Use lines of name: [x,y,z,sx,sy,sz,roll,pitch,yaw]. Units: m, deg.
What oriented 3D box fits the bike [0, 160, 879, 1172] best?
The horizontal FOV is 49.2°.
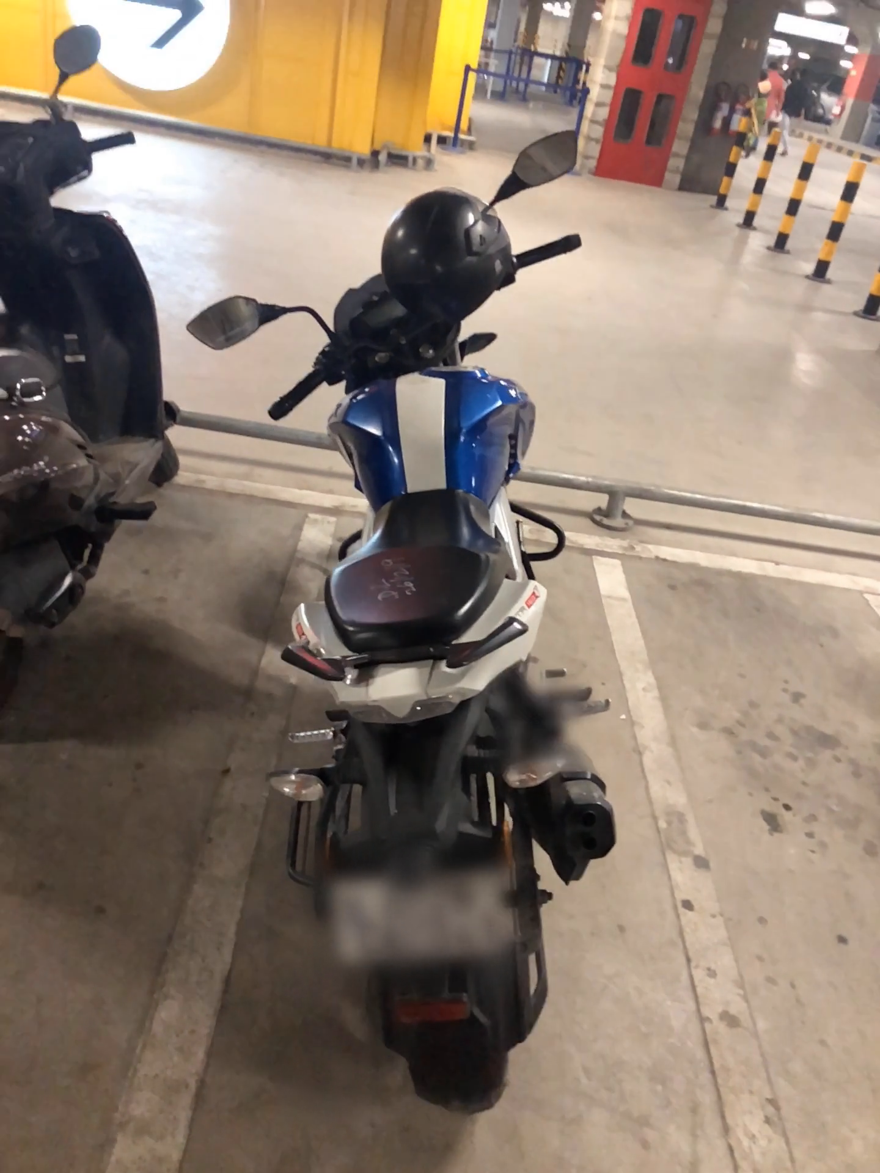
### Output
bike: [-0.170,-0.069,1.985,0.806,1.163,1.995,5,30,-9]
